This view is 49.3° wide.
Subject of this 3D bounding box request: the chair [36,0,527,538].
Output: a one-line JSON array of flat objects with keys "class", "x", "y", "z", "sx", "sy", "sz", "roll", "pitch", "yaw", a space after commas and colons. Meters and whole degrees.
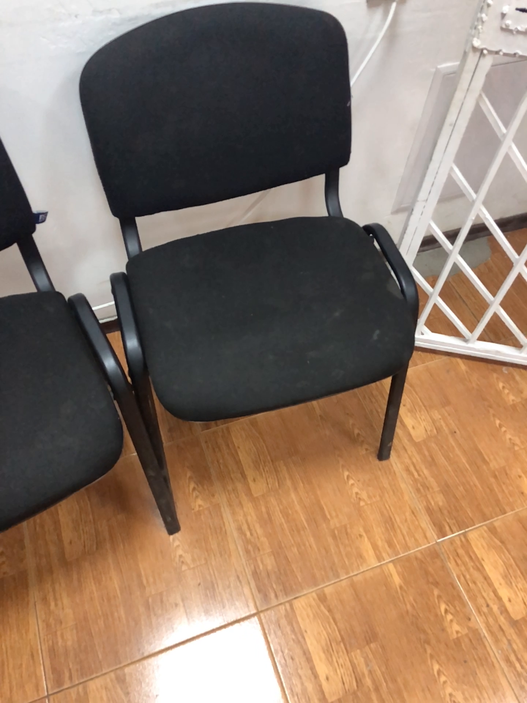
[{"class": "chair", "x": 0.004, "y": -0.113, "z": 1.010, "sx": 0.520, "sy": 0.748, "sz": 0.511, "roll": -15, "pitch": 58, "yaw": -13}]
